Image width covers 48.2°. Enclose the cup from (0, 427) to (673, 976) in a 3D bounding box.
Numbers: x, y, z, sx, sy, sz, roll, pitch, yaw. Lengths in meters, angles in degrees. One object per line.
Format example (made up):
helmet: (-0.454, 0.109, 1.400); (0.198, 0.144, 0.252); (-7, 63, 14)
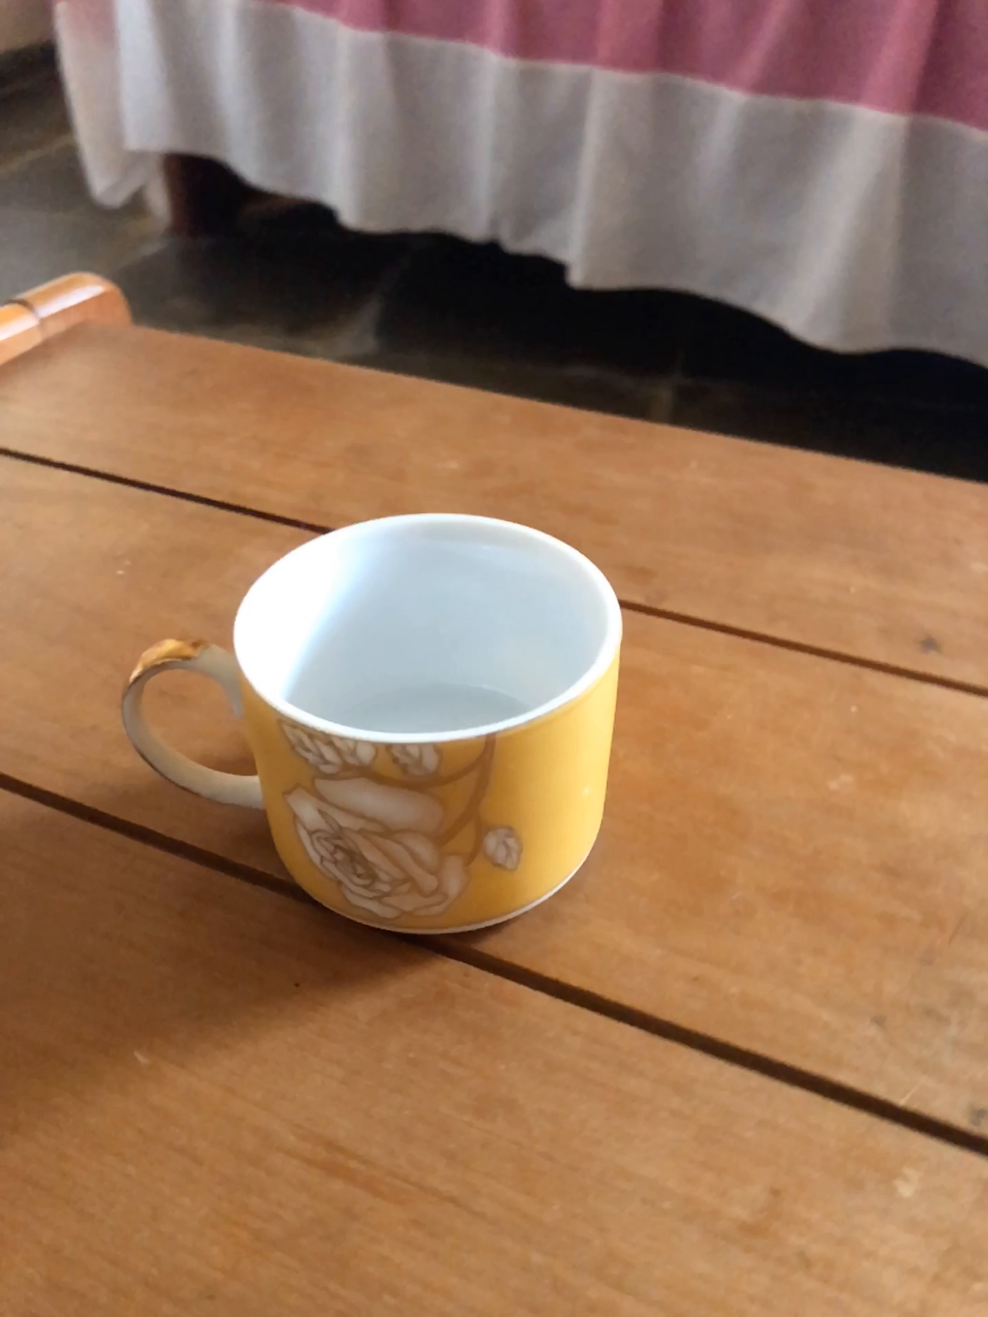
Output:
cup: (-0.025, 0.003, 0.177); (0.090, 0.050, 0.071); (-3, 39, -4)
